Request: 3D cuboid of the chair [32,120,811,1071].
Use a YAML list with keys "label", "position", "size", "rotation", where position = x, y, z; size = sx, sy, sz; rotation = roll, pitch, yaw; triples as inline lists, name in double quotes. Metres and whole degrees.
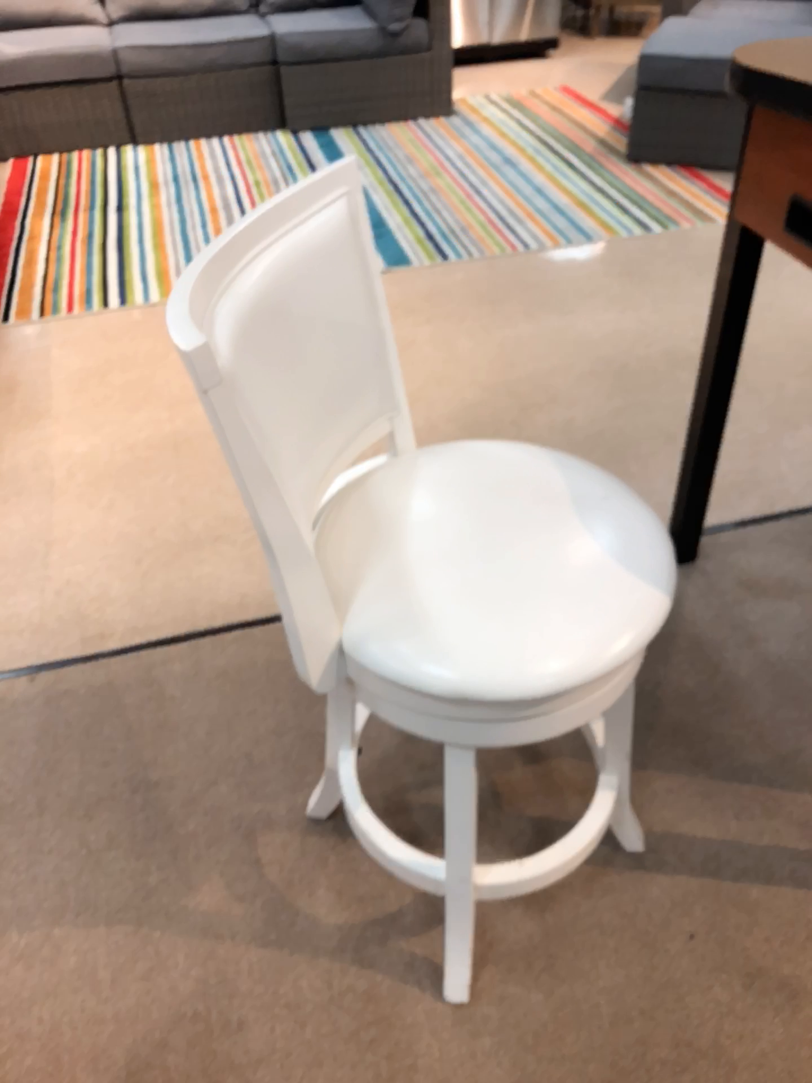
- label: "chair"
  position: [0.095, 0.069, 1.142]
  size: [0.571, 0.943, 0.624]
  rotation: [10, 41, 15]
